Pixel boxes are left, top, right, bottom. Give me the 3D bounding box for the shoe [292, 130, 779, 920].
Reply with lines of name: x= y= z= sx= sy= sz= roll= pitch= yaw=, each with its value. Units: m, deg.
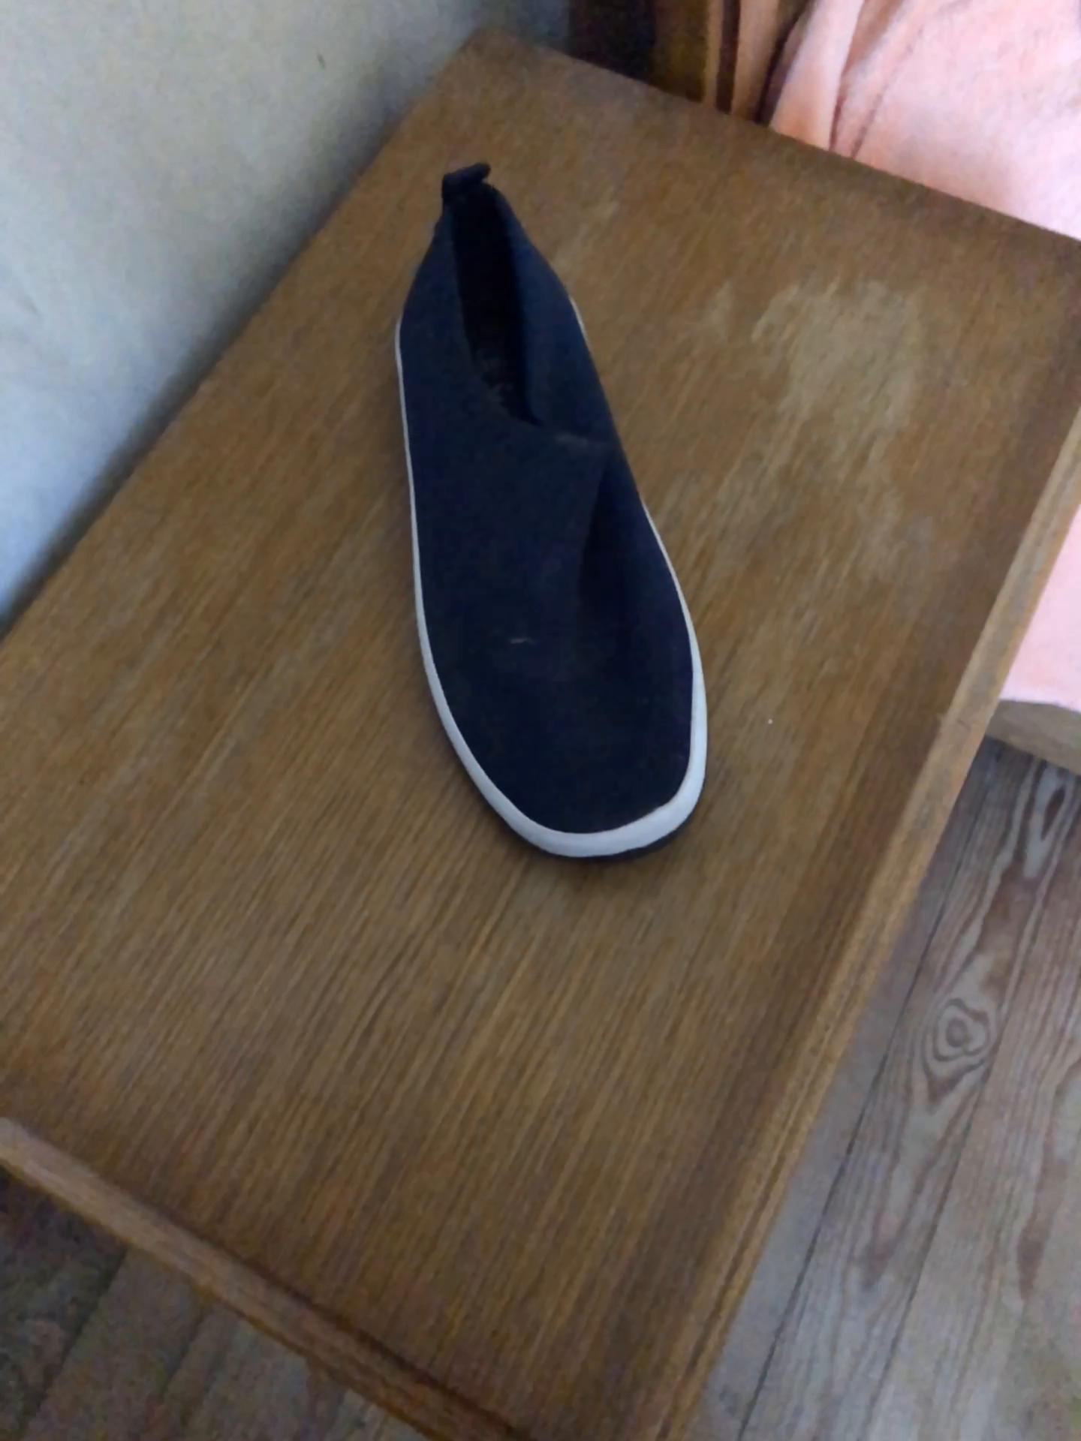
shoe: x=-0.010 y=-0.075 z=0.423 sx=0.100 sy=0.080 sz=0.261 roll=-13 pitch=66 yaw=-3
